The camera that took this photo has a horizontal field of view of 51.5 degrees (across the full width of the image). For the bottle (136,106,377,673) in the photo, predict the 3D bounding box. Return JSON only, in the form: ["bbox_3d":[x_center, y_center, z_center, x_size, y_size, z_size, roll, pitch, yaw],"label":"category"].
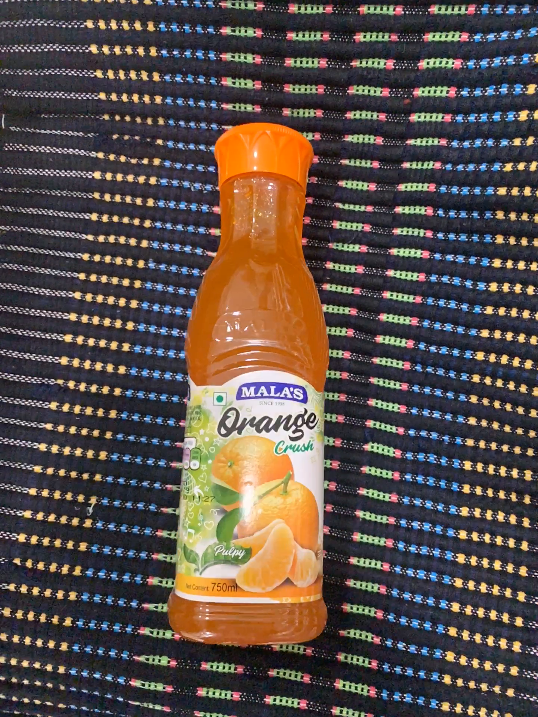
[{"bbox_3d":[-0.003,0.010,0.259,0.080,0.080,0.220,5,78,-5],"label":"bottle"}]
